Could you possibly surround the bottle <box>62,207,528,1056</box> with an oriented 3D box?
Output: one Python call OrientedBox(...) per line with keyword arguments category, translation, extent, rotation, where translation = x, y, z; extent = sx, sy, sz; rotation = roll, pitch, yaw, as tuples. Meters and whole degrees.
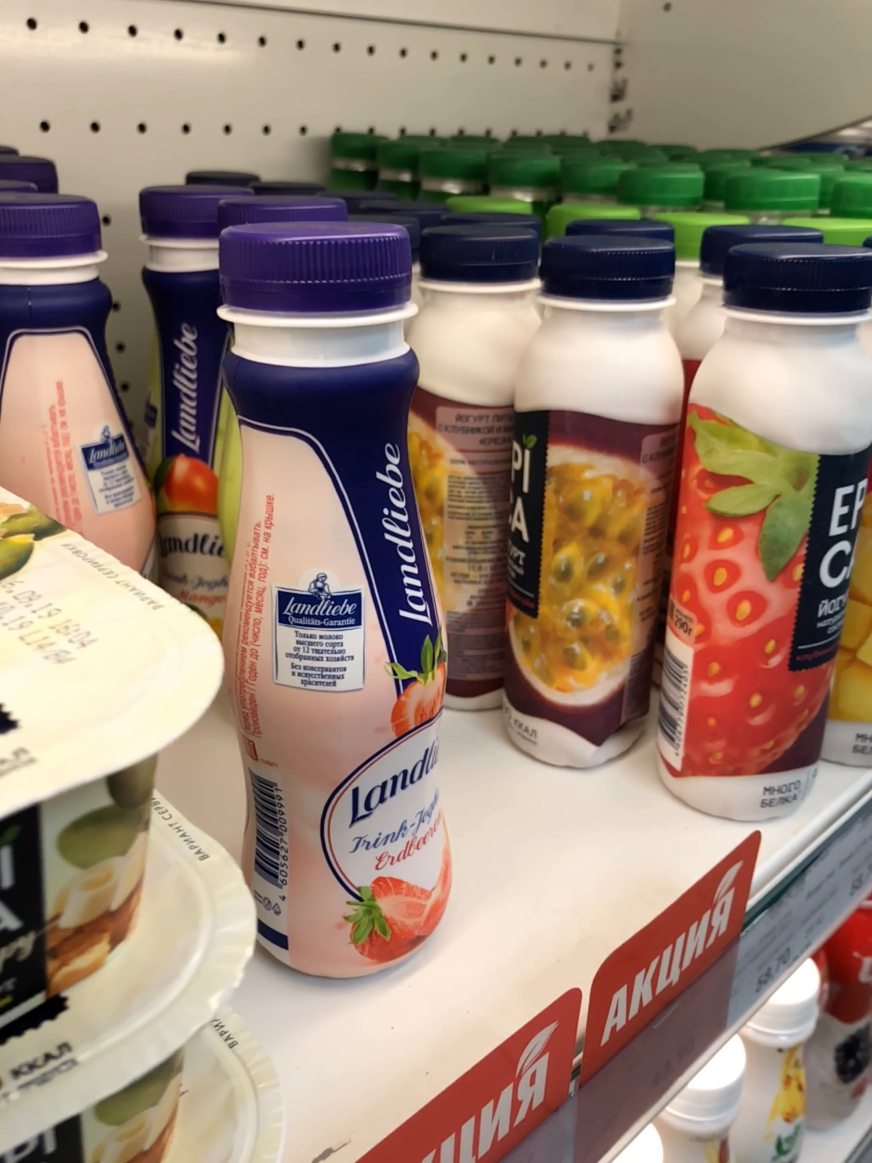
OrientedBox(category="bottle", translation=(-0.031, 0.010, 0.246), extent=(0.070, 0.189, 0.070), rotation=(1, 25, 0))
